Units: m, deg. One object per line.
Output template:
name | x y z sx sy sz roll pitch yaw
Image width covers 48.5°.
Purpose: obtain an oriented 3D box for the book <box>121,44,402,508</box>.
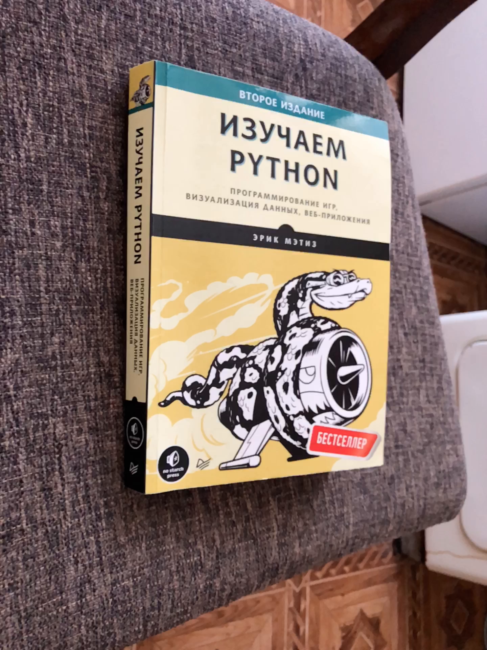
book | 0.017 -0.024 0.327 0.168 0.040 0.233 2 85 -29
